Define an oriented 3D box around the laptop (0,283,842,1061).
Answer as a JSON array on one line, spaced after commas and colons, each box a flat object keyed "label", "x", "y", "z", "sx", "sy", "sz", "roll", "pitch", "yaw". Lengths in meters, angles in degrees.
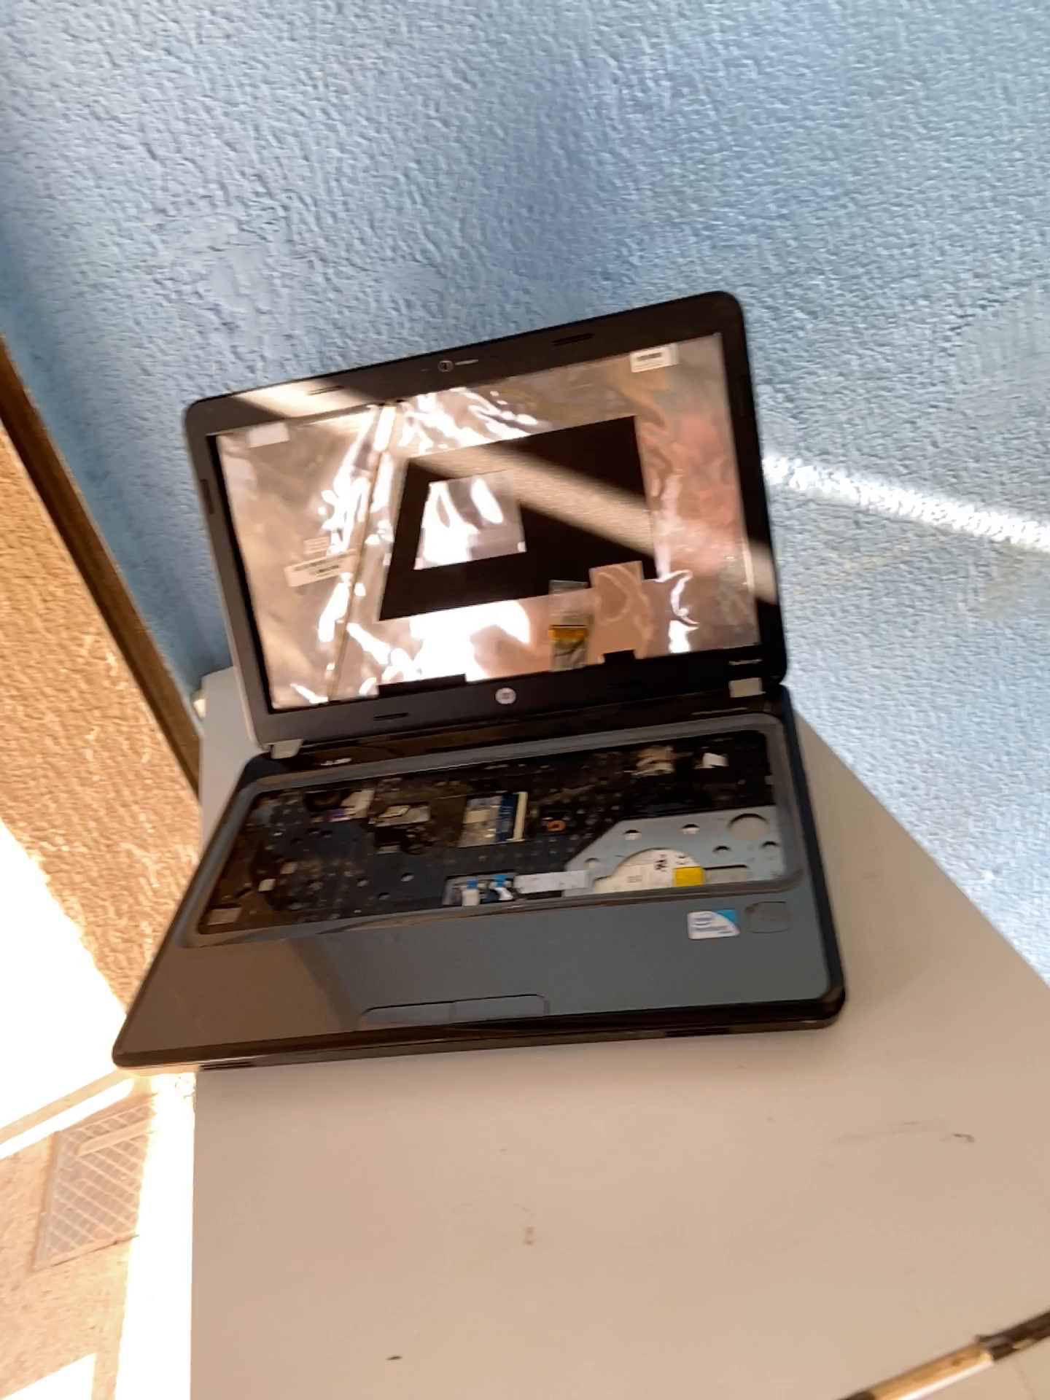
[{"label": "laptop", "x": -0.040, "y": -0.029, "z": 0.550, "sx": 0.335, "sy": 0.194, "sz": 0.325, "roll": -8, "pitch": 34, "yaw": 13}]
